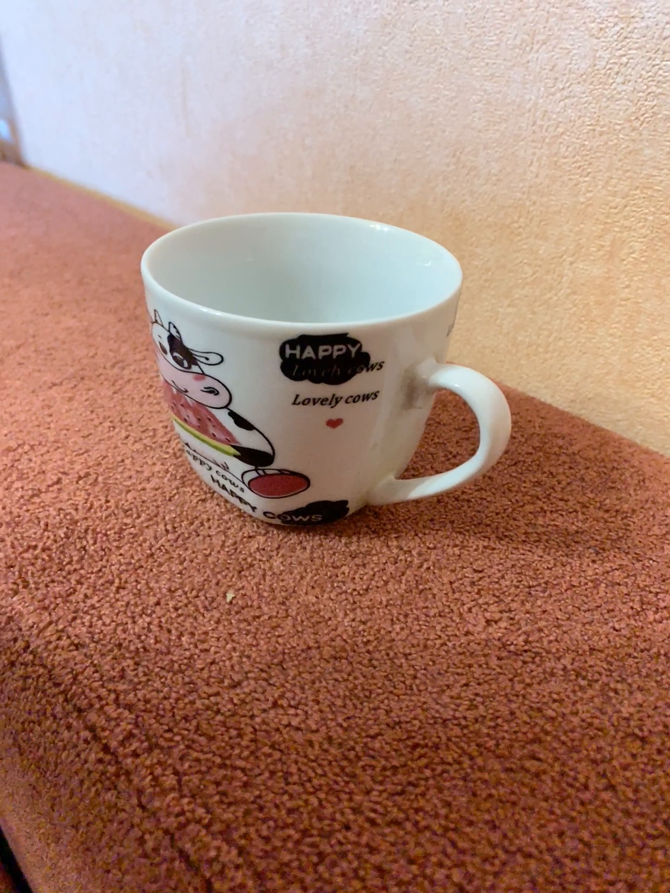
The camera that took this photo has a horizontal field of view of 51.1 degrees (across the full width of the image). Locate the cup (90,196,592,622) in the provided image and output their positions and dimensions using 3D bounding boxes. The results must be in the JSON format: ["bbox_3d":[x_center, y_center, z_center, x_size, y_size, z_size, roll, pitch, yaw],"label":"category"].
[{"bbox_3d":[-0.002,-0.021,0.185,0.079,0.056,0.095,-24,41,-32],"label":"cup"}]
